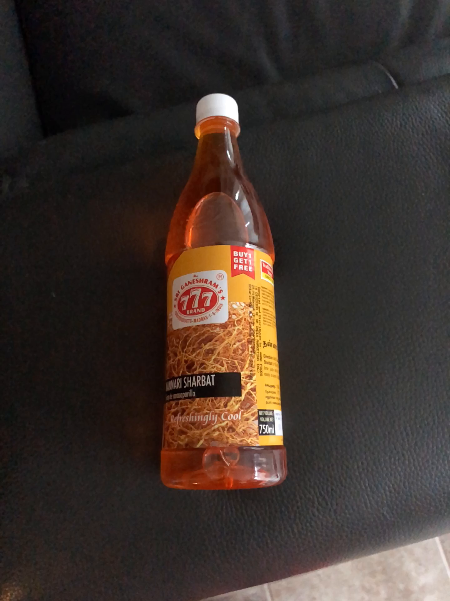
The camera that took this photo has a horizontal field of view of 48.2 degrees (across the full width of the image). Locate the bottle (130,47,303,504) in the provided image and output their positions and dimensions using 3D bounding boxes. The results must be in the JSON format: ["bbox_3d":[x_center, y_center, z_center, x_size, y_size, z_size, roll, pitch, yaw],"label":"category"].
[{"bbox_3d":[-0.003,-0.019,0.333,0.080,0.070,0.280,-7,71,18],"label":"bottle"}]
